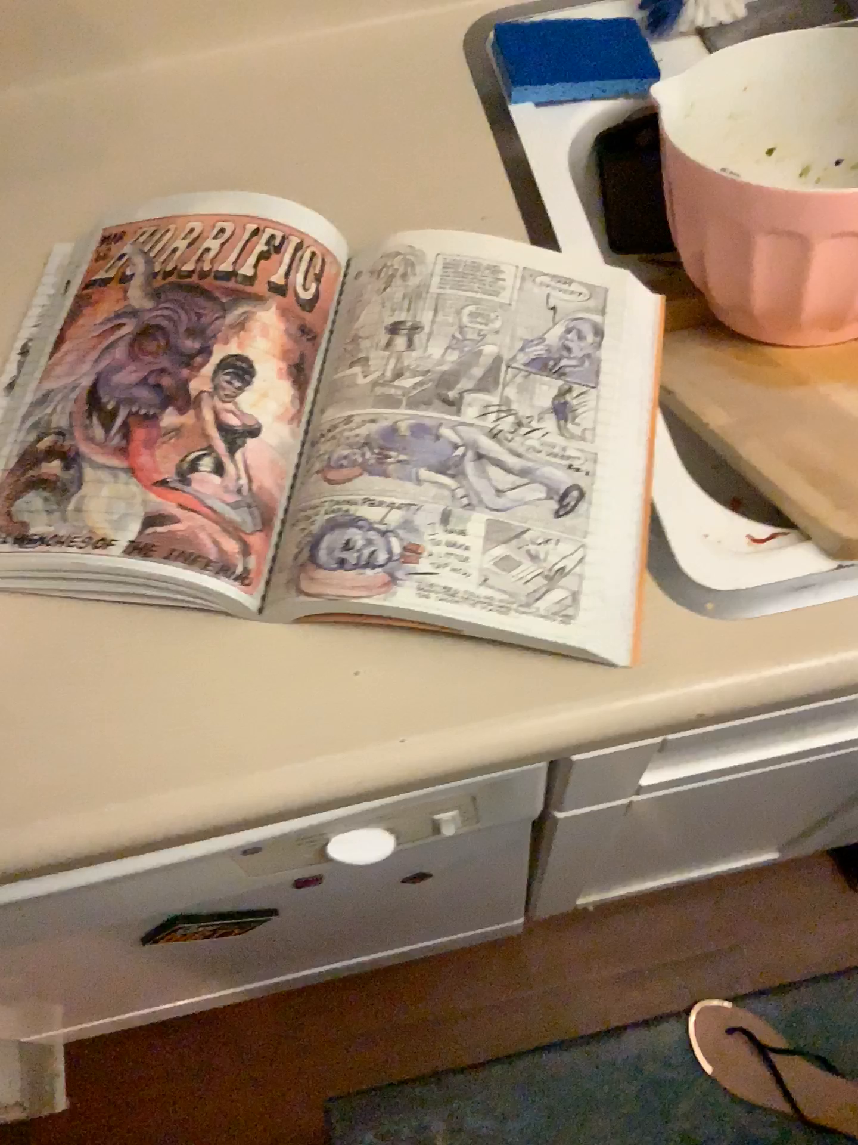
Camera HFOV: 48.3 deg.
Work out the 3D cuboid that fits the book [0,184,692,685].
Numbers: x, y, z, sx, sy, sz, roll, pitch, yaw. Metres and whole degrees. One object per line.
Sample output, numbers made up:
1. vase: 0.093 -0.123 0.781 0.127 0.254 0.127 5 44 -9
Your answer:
1. book: -0.071 -0.099 0.570 0.430 0.050 0.280 6 64 7
